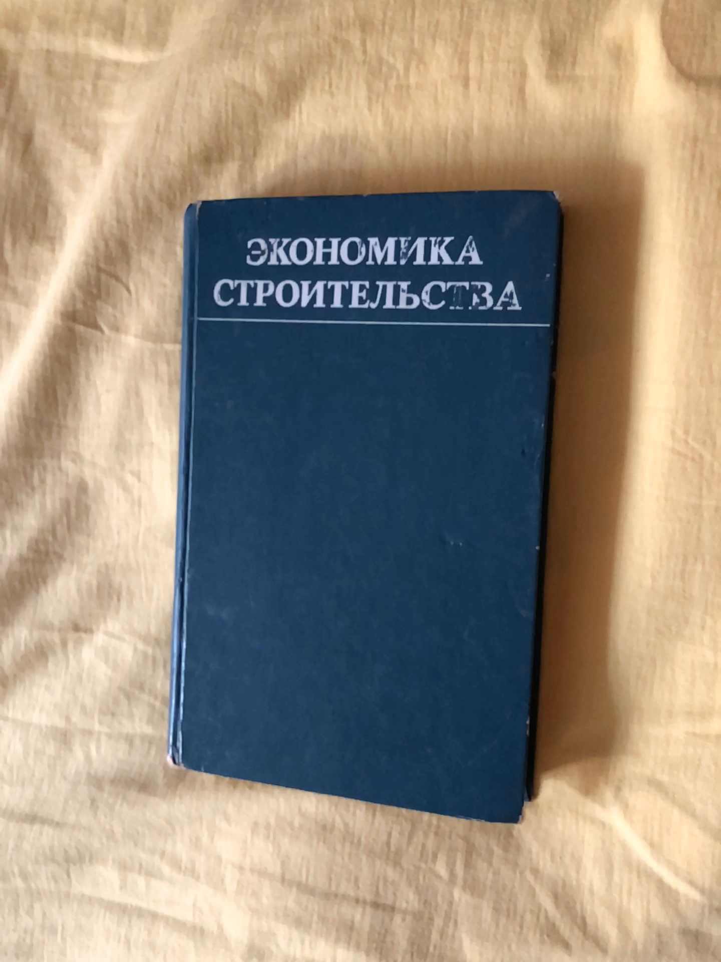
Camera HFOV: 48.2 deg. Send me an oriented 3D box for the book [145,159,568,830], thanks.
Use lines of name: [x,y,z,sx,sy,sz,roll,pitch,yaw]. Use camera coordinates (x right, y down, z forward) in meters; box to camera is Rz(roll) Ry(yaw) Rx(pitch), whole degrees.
book: [-0.004,0.002,0.270,0.130,0.030,0.200,3,94,14]
